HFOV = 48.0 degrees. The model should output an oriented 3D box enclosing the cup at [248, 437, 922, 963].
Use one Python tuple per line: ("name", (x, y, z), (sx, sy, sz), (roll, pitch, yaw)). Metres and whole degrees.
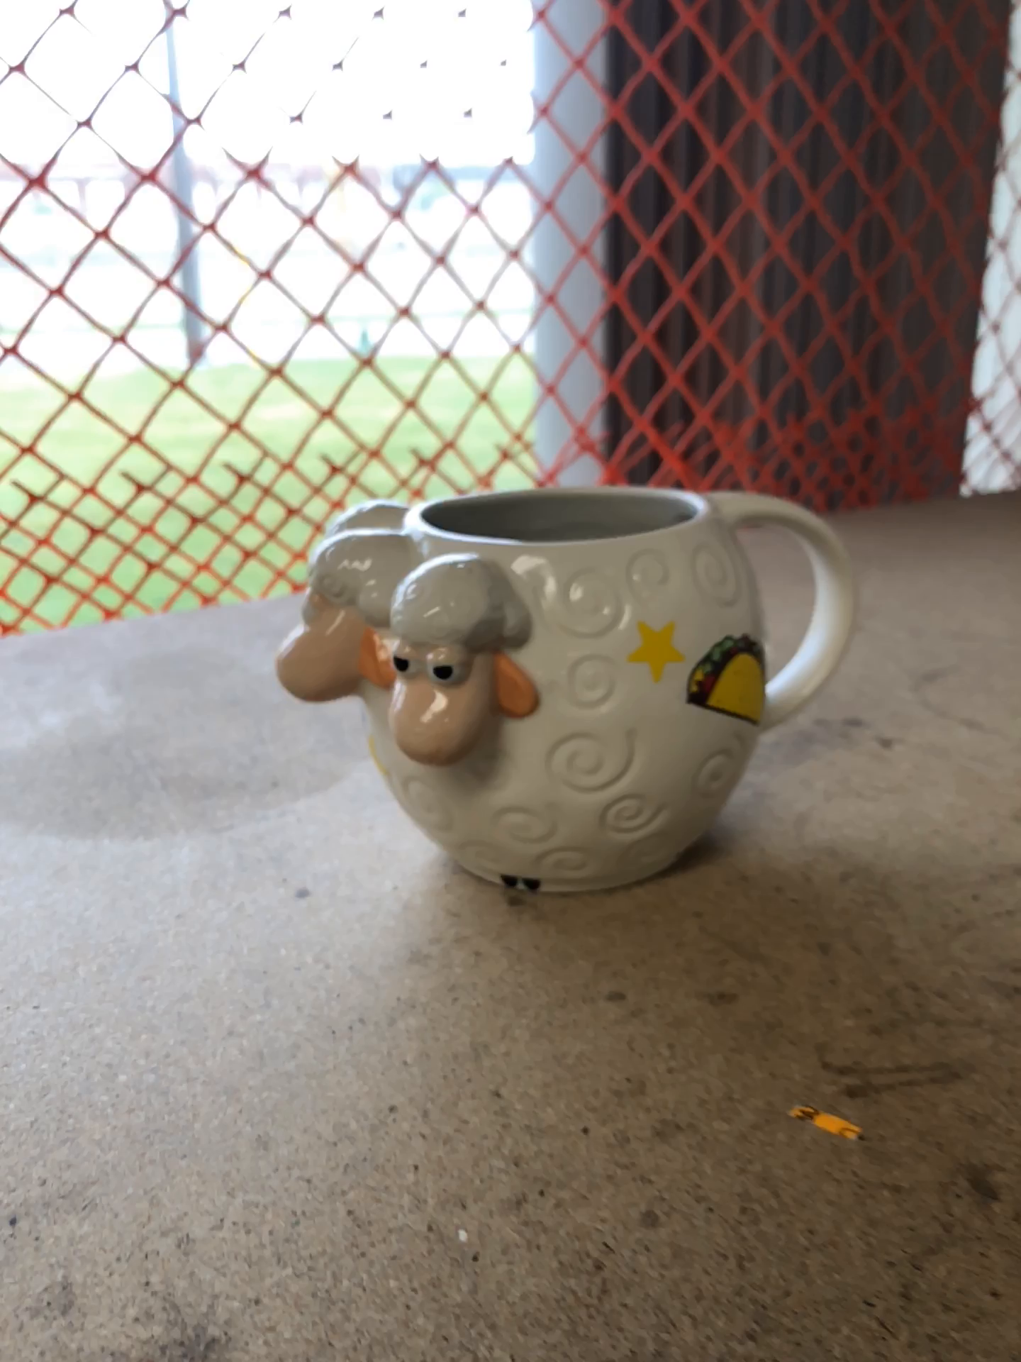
("cup", (0.019, -0.006, 0.295), (0.146, 0.090, 0.076), (-12, 22, -25))
